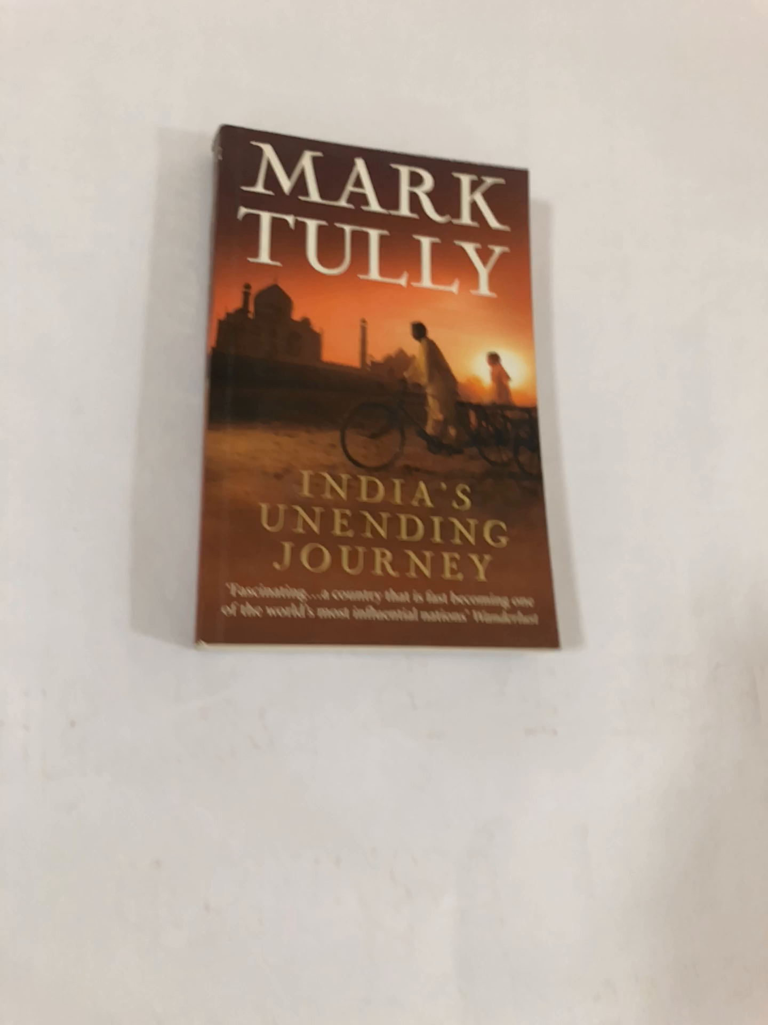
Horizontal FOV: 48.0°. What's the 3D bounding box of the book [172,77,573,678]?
[{"bbox_3d":[-0.004,-0.049,0.316,0.130,0.030,0.210,4,73,-16],"label":"book"}]
